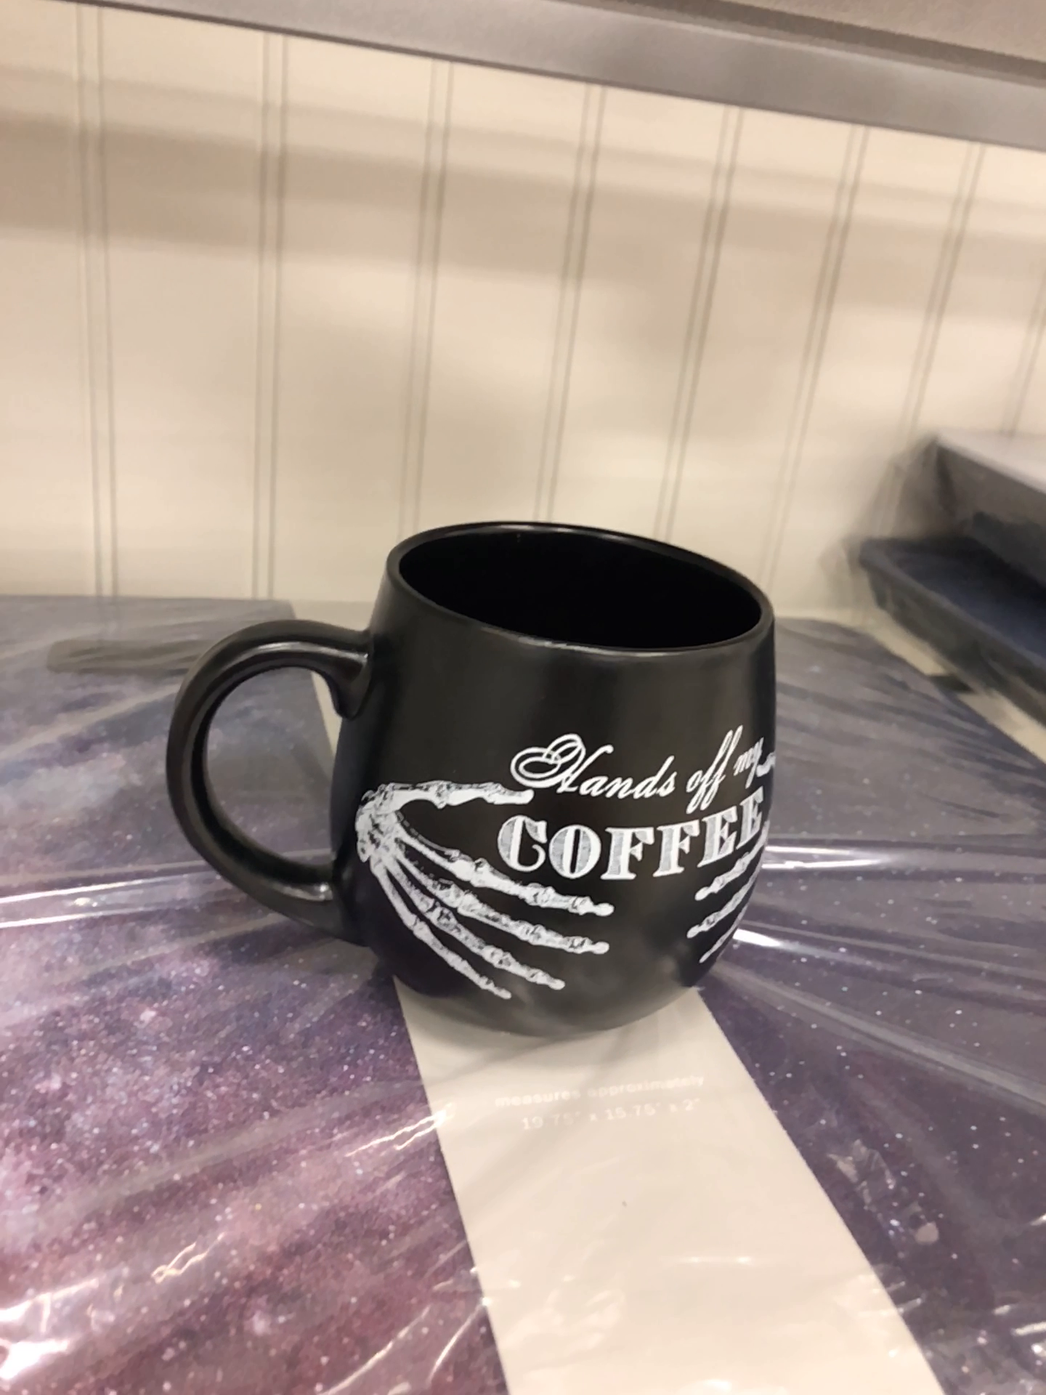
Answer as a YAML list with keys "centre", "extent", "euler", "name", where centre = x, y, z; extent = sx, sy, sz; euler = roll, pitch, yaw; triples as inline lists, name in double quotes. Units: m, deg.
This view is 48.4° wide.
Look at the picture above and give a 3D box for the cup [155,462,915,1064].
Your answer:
- centre: [-0.006, 0.012, 0.277]
  extent: [0.140, 0.099, 0.101]
  euler: [3, 25, -9]
  name: "cup"
